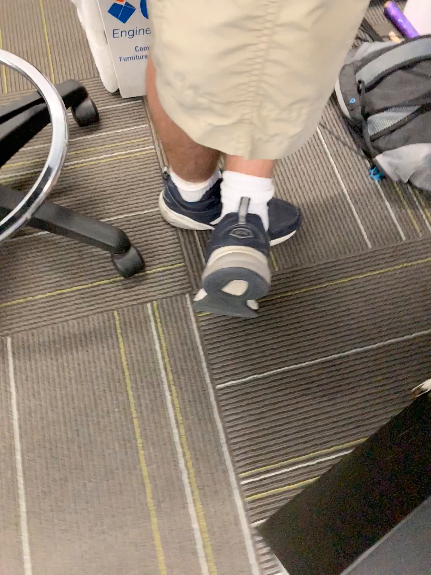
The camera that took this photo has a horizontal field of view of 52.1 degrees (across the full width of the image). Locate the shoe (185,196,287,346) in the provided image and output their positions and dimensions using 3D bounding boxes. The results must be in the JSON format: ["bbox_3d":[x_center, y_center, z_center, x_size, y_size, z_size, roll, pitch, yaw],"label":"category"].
[{"bbox_3d":[0.030,-0.009,0.726,0.122,0.293,0.129,7,69,3],"label":"shoe"}]

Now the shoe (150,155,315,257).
[{"bbox_3d":[0.033,-0.162,0.878,0.297,0.077,0.120,12,67,4],"label":"shoe"}]
